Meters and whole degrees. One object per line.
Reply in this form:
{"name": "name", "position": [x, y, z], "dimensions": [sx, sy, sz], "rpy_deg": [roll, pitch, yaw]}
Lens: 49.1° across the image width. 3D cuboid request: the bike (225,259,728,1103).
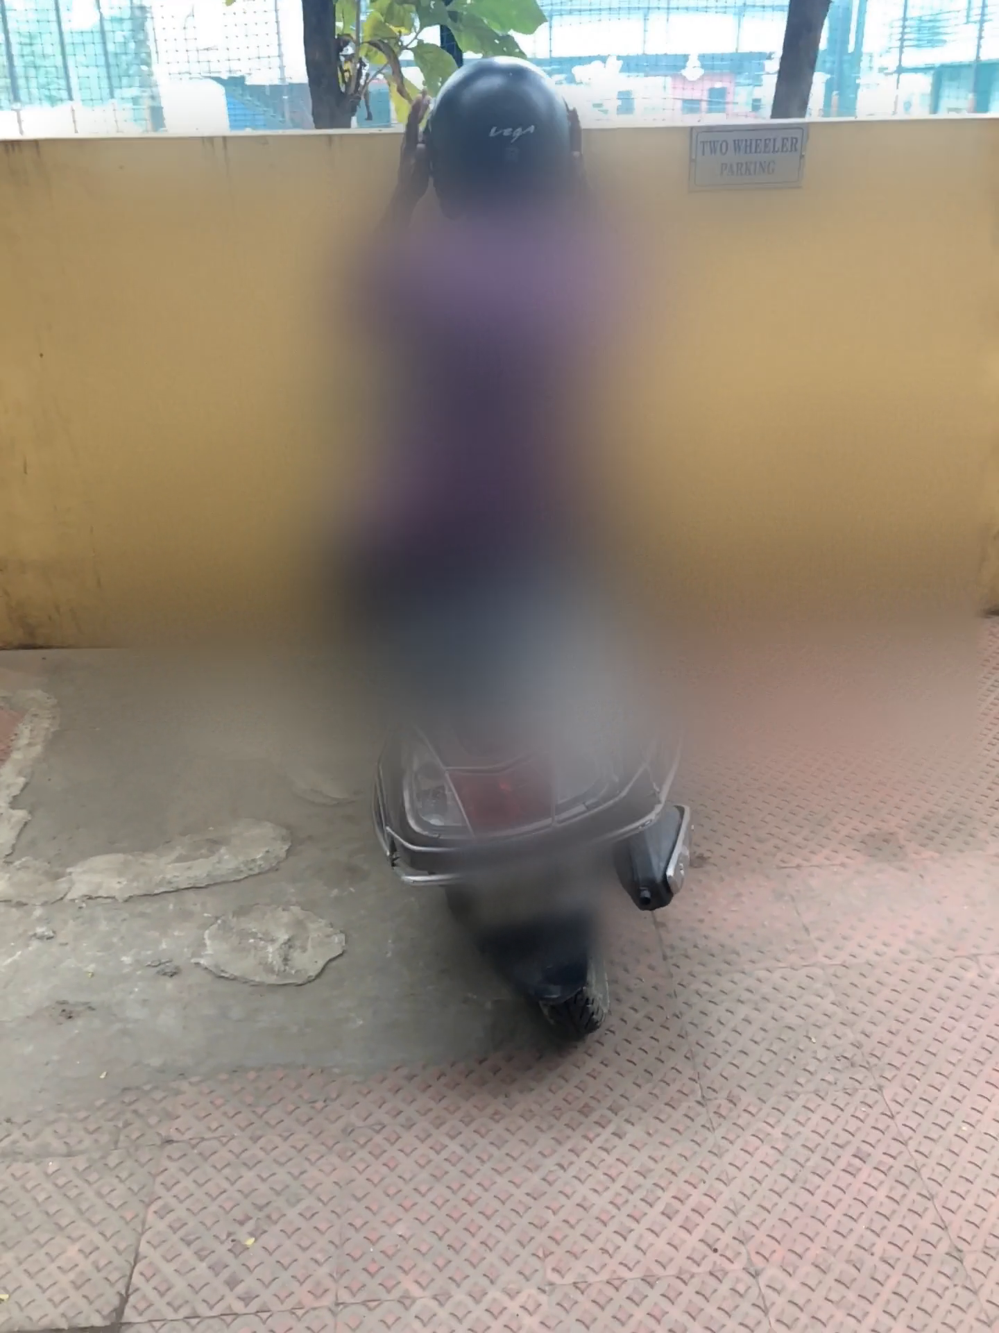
{"name": "bike", "position": [-0.150, -0.163, 2.426], "dimensions": [0.643, 1.182, 1.723], "rpy_deg": [-5, 27, -7]}
